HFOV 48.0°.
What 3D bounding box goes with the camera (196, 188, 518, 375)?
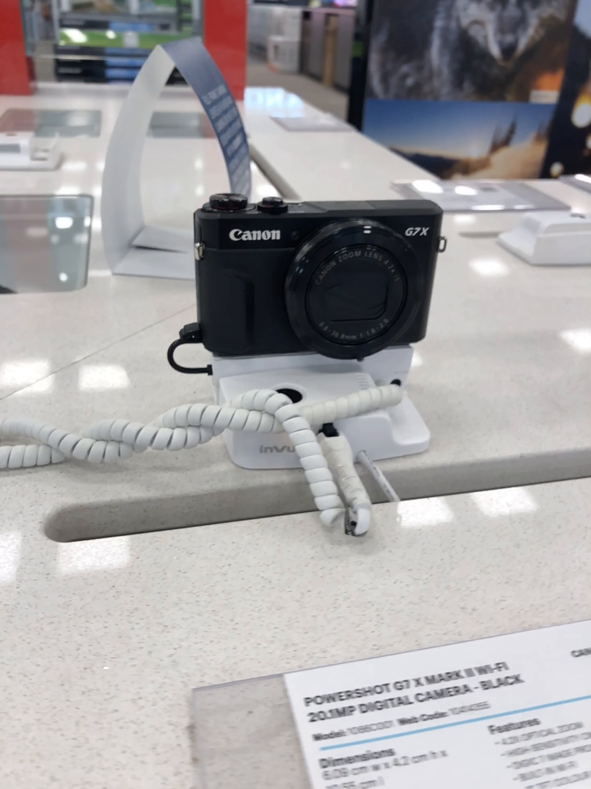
[{"bbox_3d":[0.021,-0.050,0.281,0.120,0.060,0.050,-4,31,-11],"label":"camera"}]
